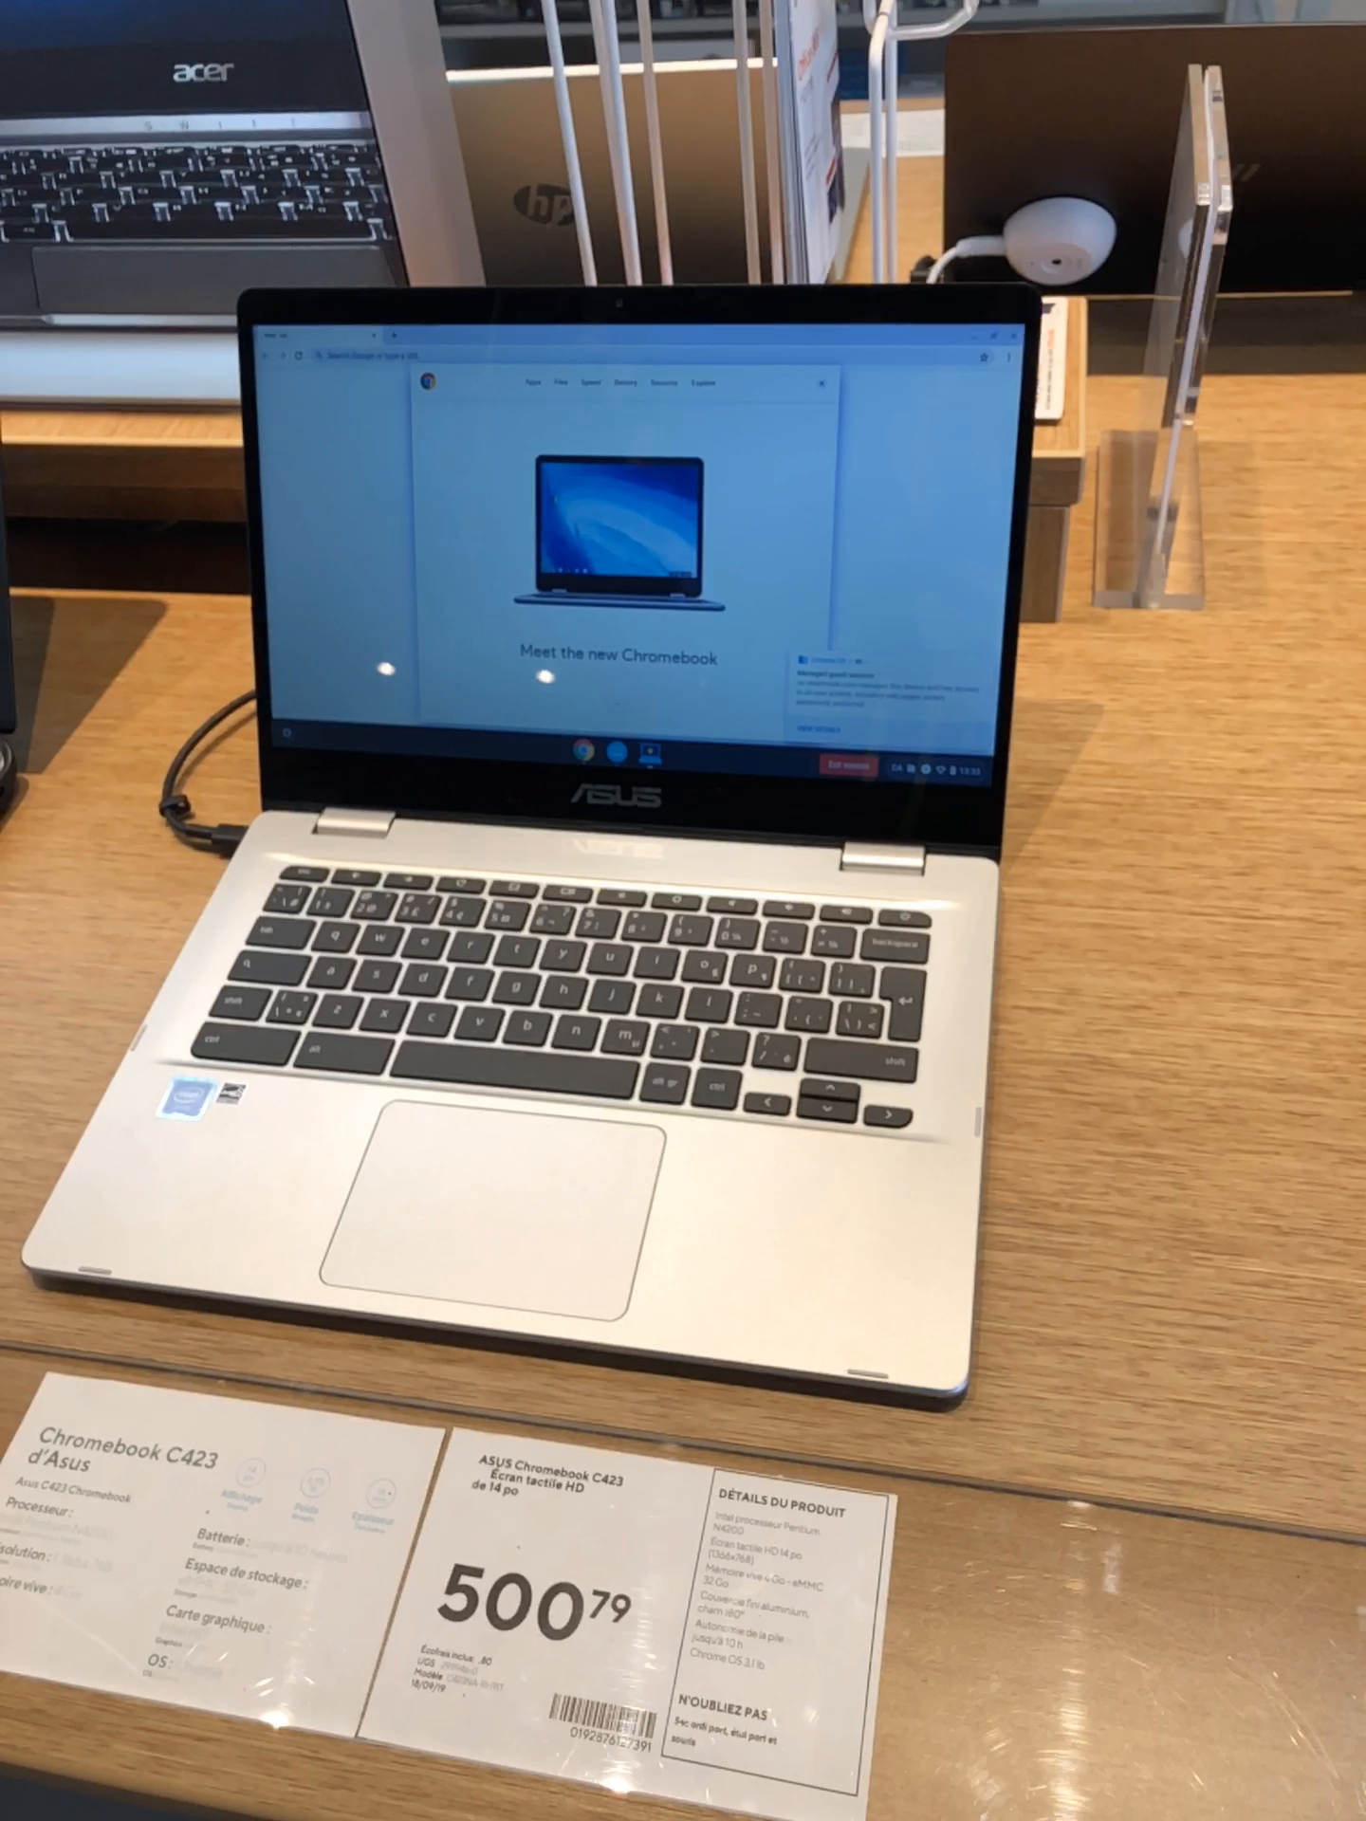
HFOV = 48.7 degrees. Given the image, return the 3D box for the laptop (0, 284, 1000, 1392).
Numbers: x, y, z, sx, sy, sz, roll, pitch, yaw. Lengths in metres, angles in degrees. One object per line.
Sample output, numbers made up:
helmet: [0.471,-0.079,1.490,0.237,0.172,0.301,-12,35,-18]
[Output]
laptop: [-0.043,-0.051,0.519,0.281,0.186,0.337,3,46,8]
